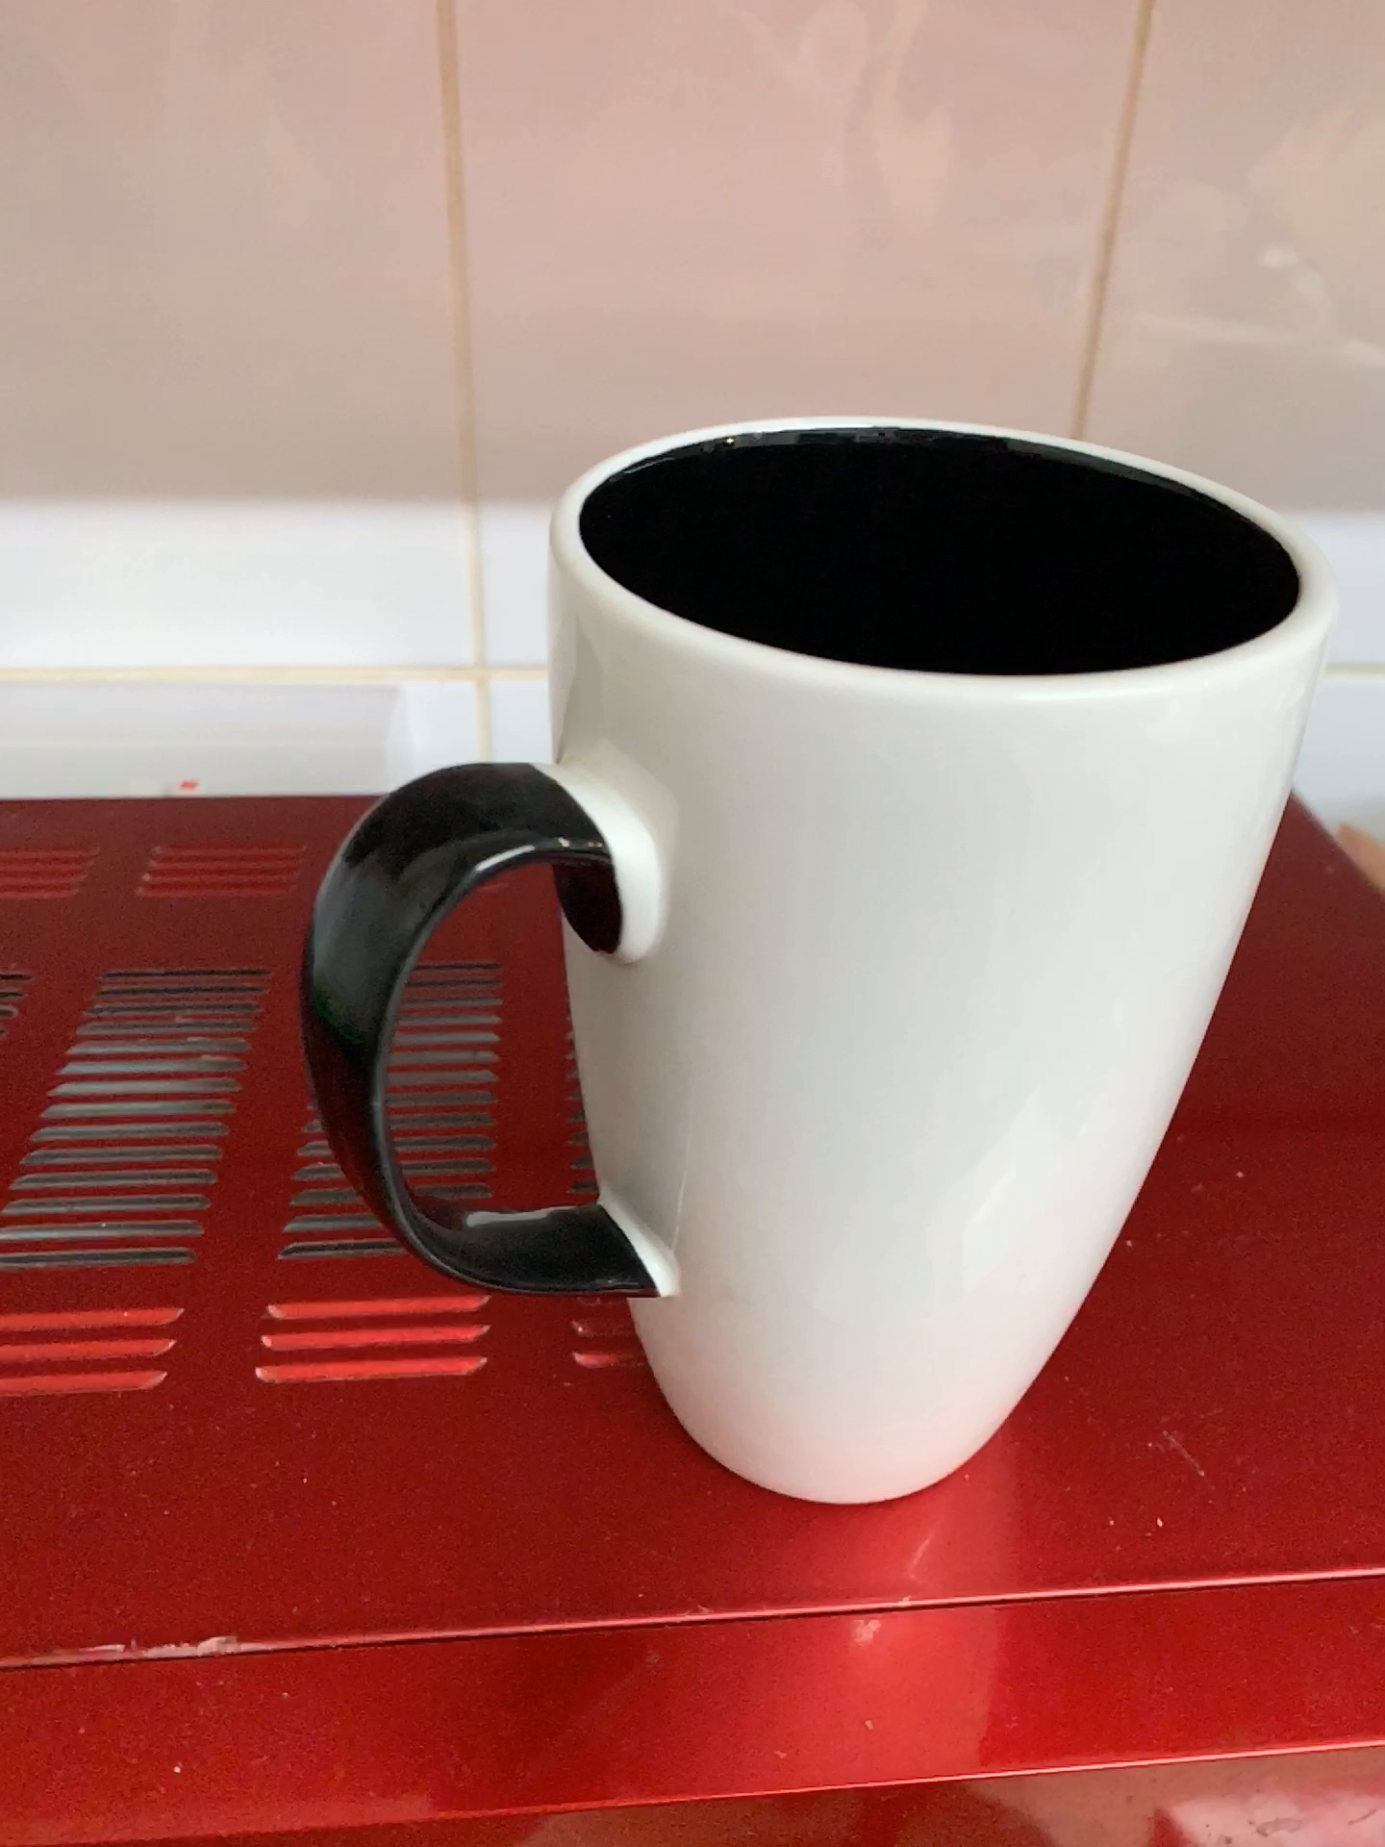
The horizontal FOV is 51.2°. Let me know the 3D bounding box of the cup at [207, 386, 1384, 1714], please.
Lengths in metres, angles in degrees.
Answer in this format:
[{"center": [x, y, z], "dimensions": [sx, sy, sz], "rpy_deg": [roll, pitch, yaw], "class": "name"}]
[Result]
[{"center": [0.016, 0.008, 0.200], "dimensions": [0.130, 0.129, 0.091], "rpy_deg": [-11, 36, -20], "class": "cup"}]
